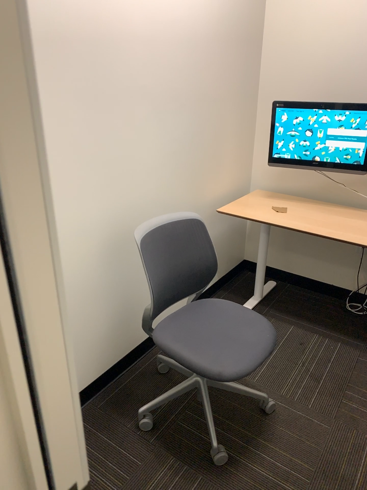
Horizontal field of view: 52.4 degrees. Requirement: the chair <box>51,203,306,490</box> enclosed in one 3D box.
[{"bbox_3d":[-0.046,0.394,1.851,0.903,0.885,0.721,22,32,39],"label":"chair"}]
